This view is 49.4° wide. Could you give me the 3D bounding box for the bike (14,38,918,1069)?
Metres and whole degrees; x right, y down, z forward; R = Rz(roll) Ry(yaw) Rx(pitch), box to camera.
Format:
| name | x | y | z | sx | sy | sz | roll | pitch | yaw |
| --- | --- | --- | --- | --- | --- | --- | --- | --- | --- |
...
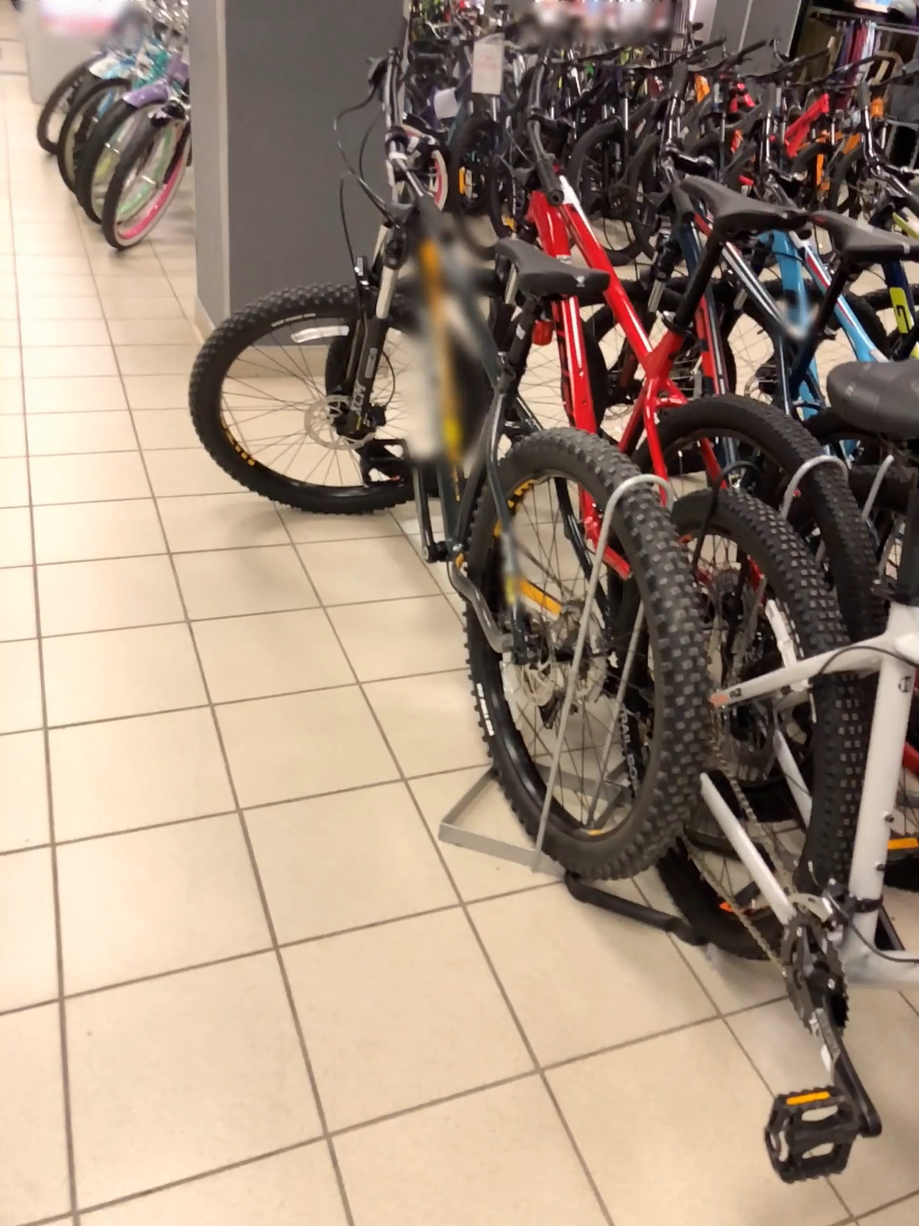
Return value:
| name | x | y | z | sx | sy | sz | roll | pitch | yaw |
| --- | --- | --- | --- | --- | --- | --- | --- | --- | --- |
| bike | -0.083 | -0.269 | 1.777 | 0.809 | 1.165 | 1.547 | -13 | 36 | -30 |
